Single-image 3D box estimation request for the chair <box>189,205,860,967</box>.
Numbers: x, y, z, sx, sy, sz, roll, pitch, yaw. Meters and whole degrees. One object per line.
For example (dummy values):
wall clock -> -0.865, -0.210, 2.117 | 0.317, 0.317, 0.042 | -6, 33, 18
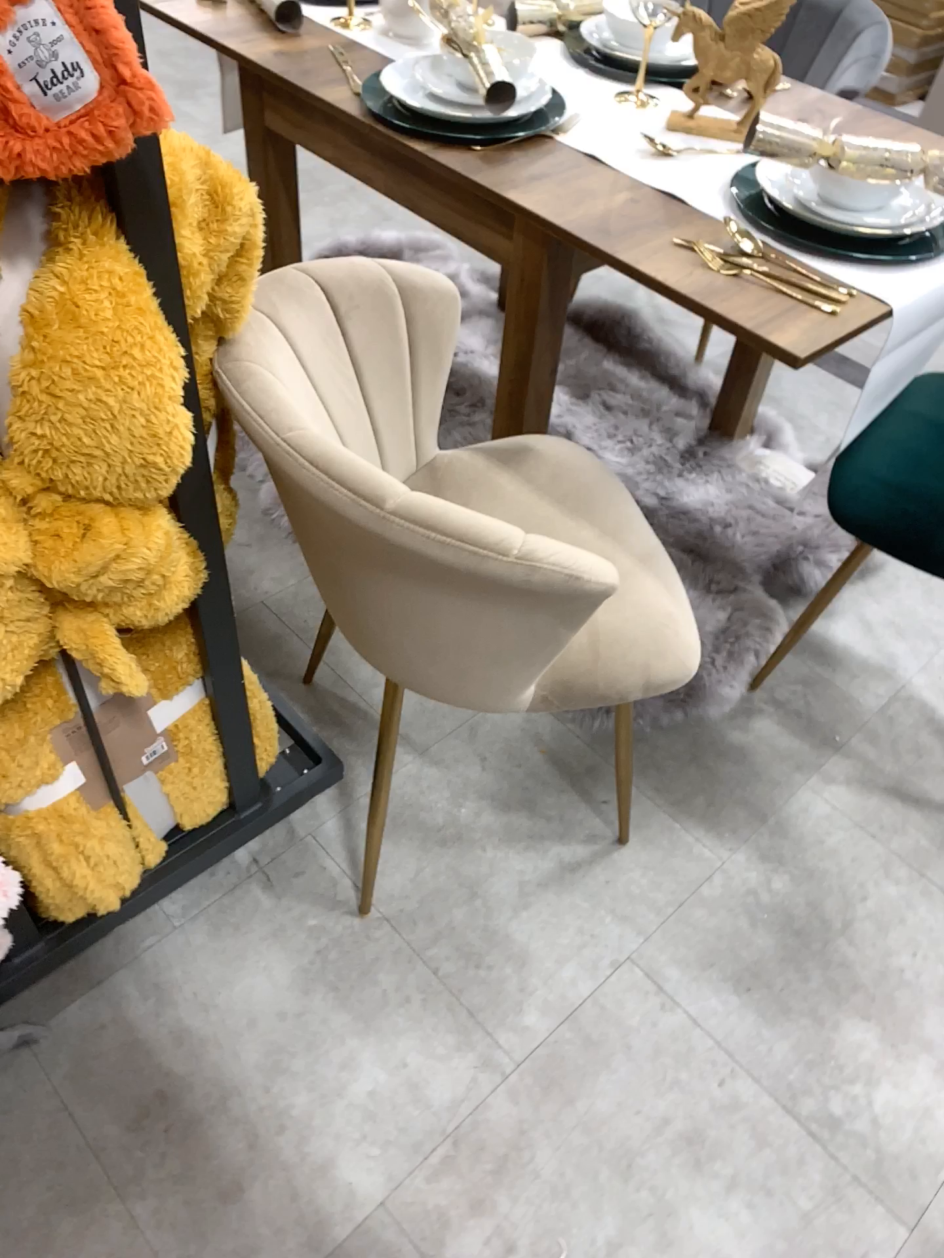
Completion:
chair -> -0.013, -0.049, 1.244 | 0.535, 0.722, 0.565 | -9, 49, -14
